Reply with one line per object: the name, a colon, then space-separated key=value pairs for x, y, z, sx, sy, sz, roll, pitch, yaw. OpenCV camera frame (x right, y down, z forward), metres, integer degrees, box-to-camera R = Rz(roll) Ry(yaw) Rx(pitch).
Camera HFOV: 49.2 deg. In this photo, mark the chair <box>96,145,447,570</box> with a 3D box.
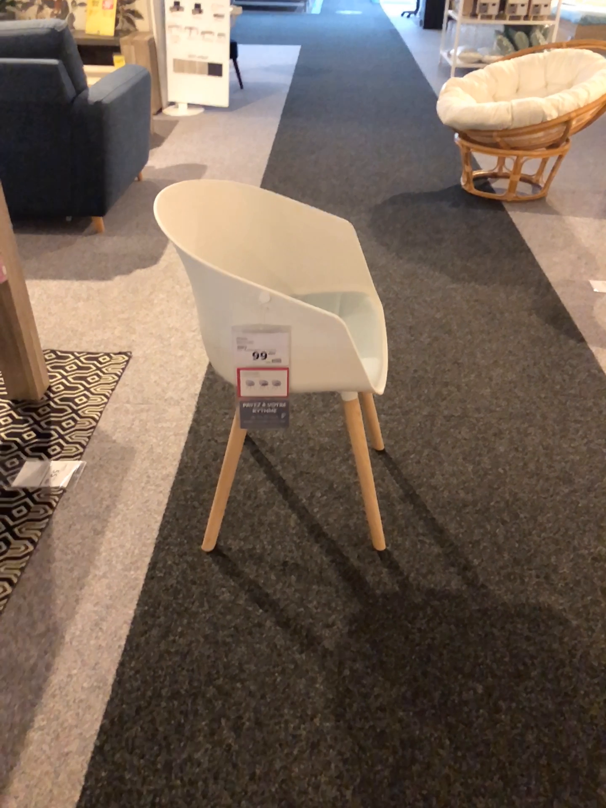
chair: x=-0.036 y=-0.116 z=1.530 sx=0.580 sy=0.765 sz=0.554 roll=4 pitch=35 yaw=4
